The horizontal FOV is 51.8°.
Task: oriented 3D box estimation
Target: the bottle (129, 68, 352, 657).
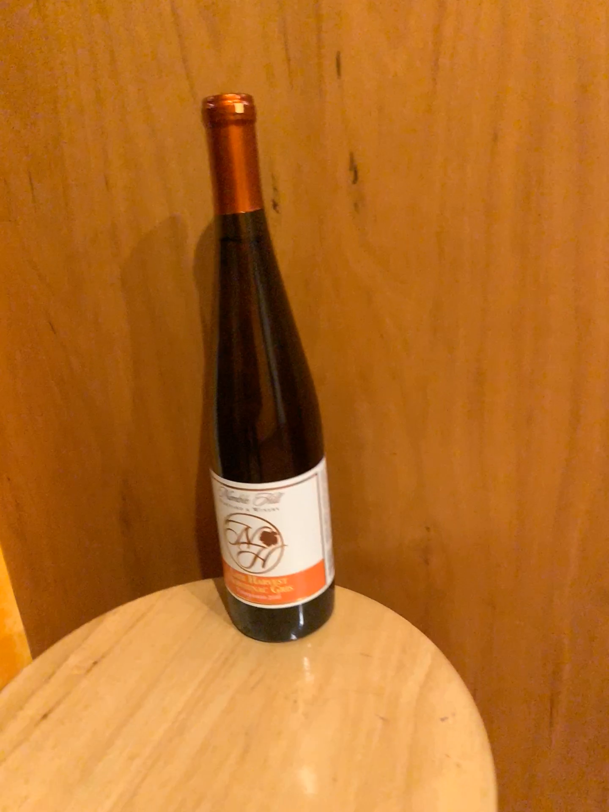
[{"bbox_3d":[-0.026,-0.009,0.375,0.080,0.329,0.060,3,22,19],"label":"bottle"}]
